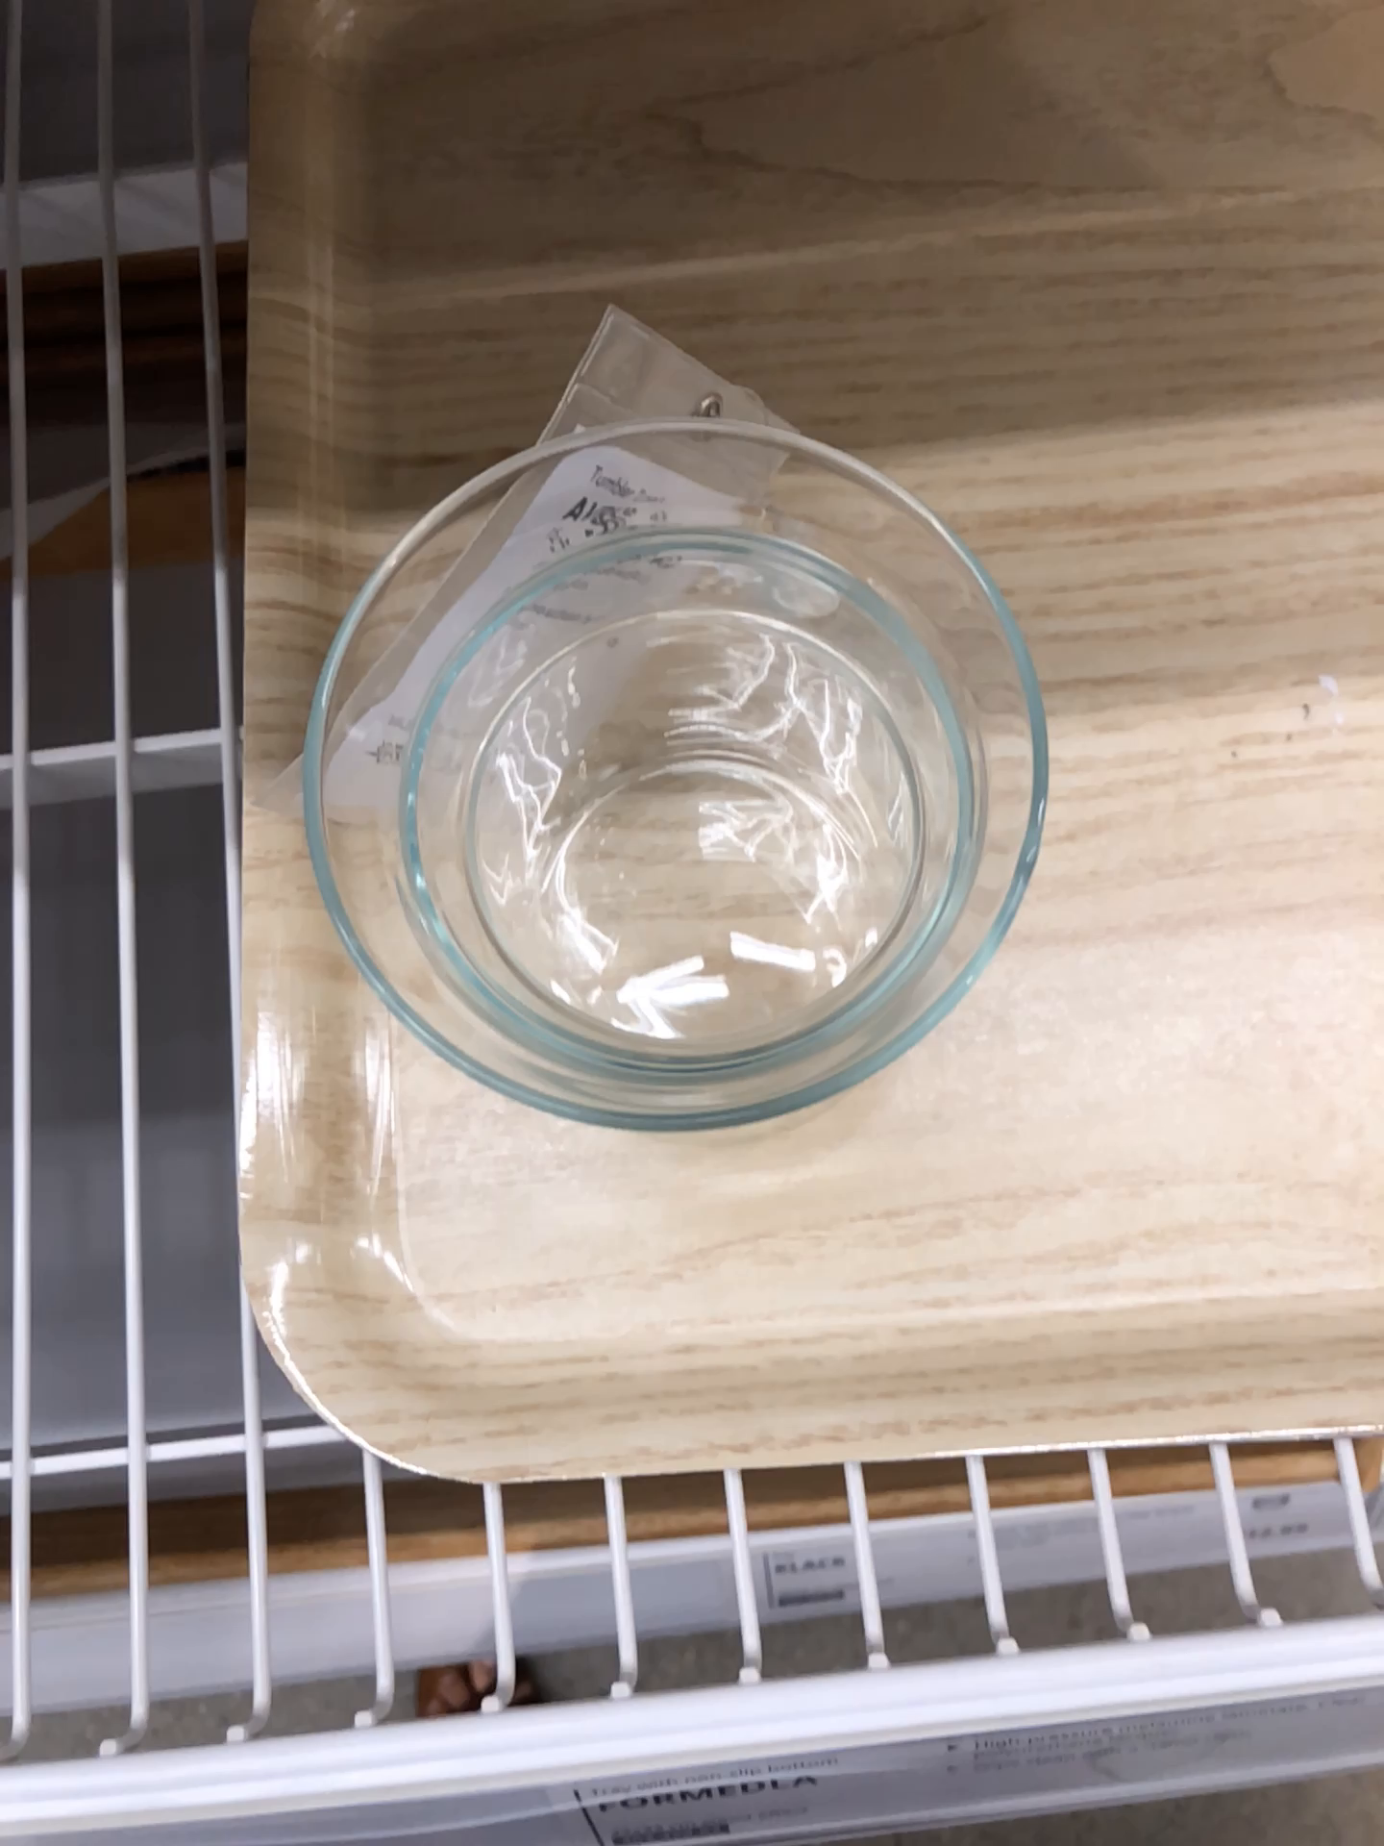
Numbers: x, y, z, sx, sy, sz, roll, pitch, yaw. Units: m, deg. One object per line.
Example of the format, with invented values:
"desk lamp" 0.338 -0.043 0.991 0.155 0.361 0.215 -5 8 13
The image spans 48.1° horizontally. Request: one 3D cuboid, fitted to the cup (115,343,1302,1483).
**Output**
"cup" 0.003 0.003 0.214 0.100 0.080 0.090 -42 77 -9
